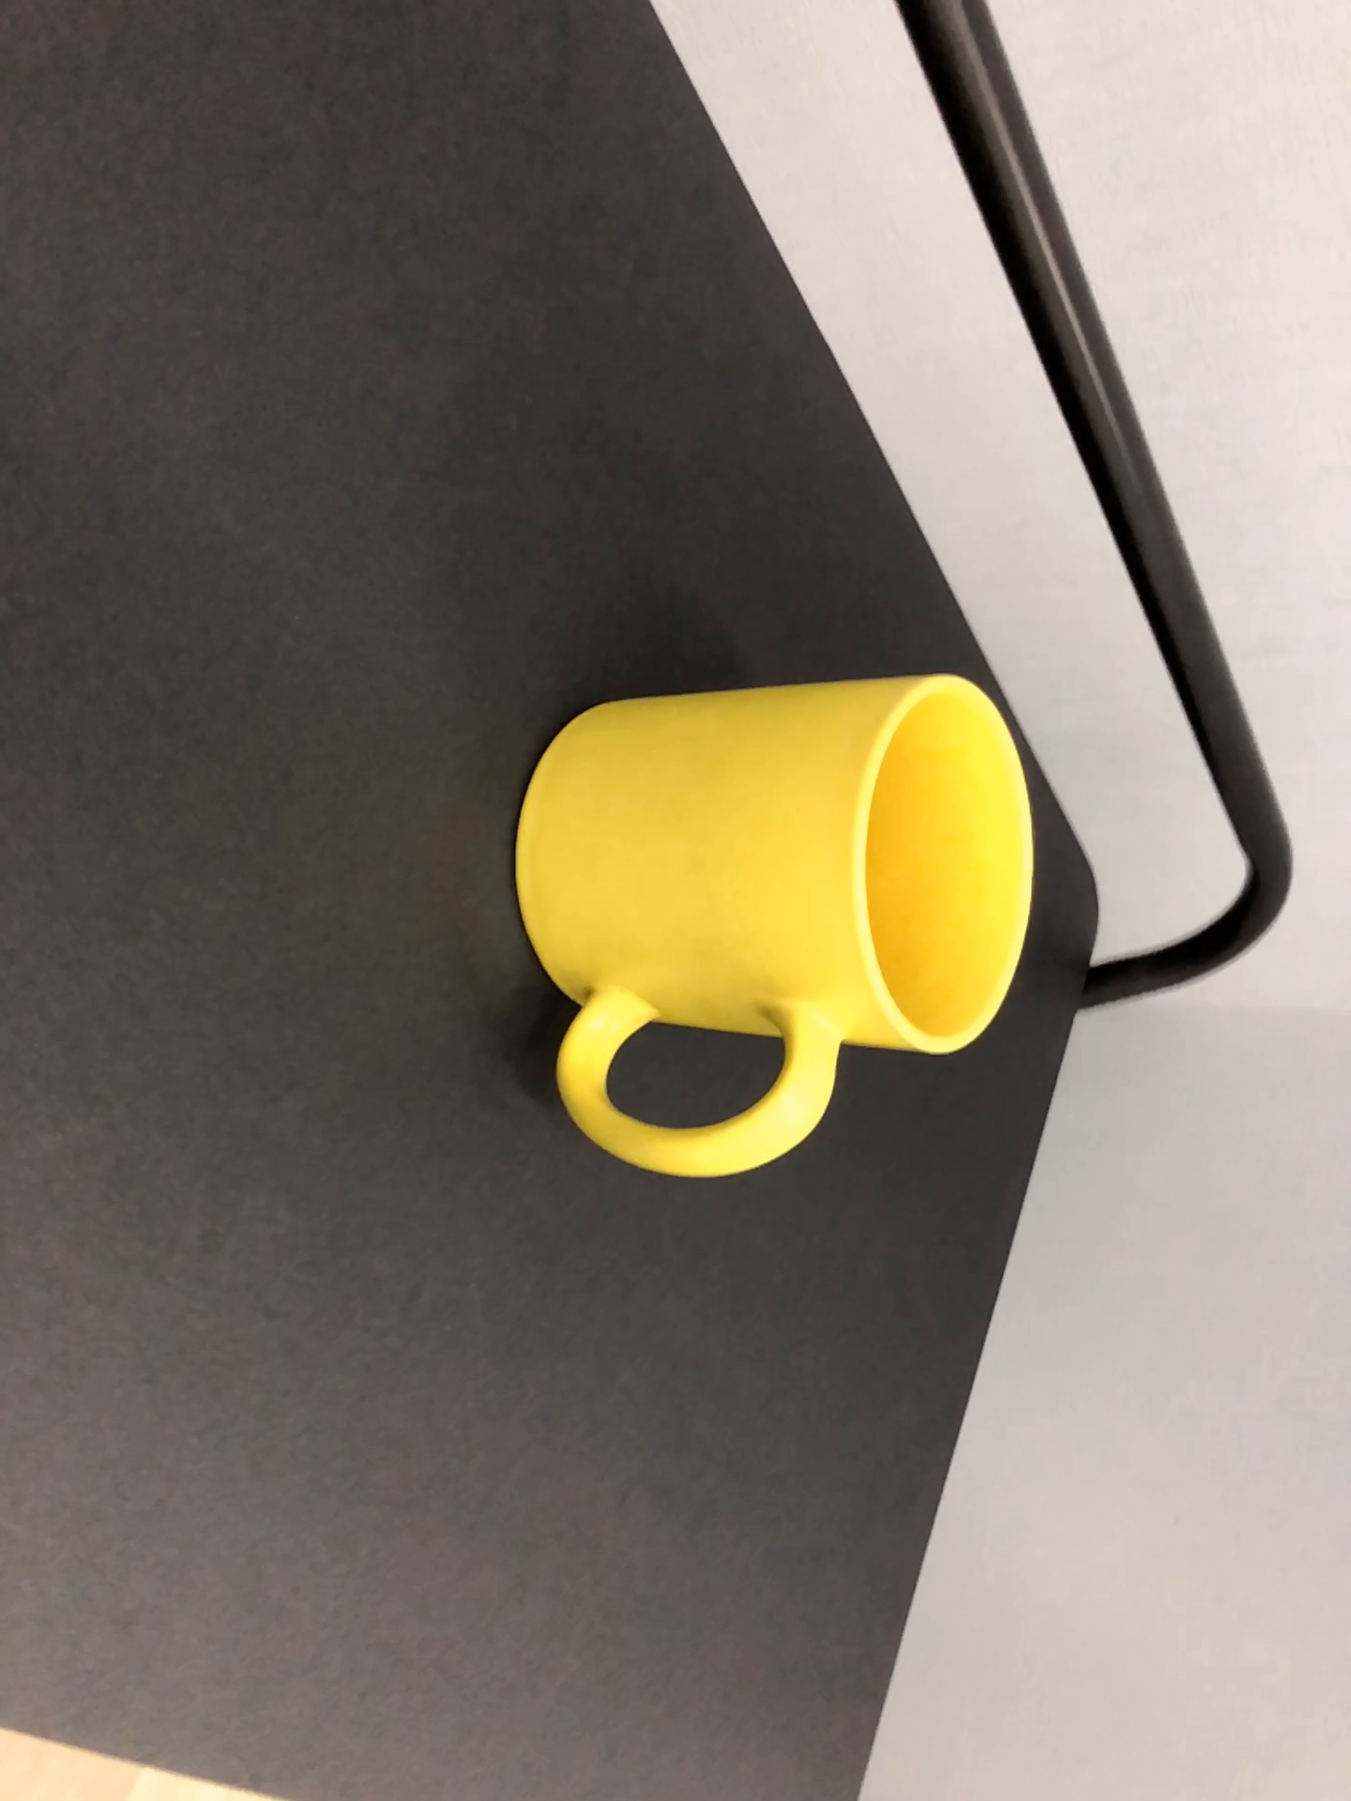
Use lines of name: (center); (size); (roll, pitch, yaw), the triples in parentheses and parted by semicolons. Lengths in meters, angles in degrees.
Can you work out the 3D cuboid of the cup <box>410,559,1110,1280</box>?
cup: (0.025, 0.006, 0.343); (0.090, 0.101, 0.125); (39, 61, -47)
